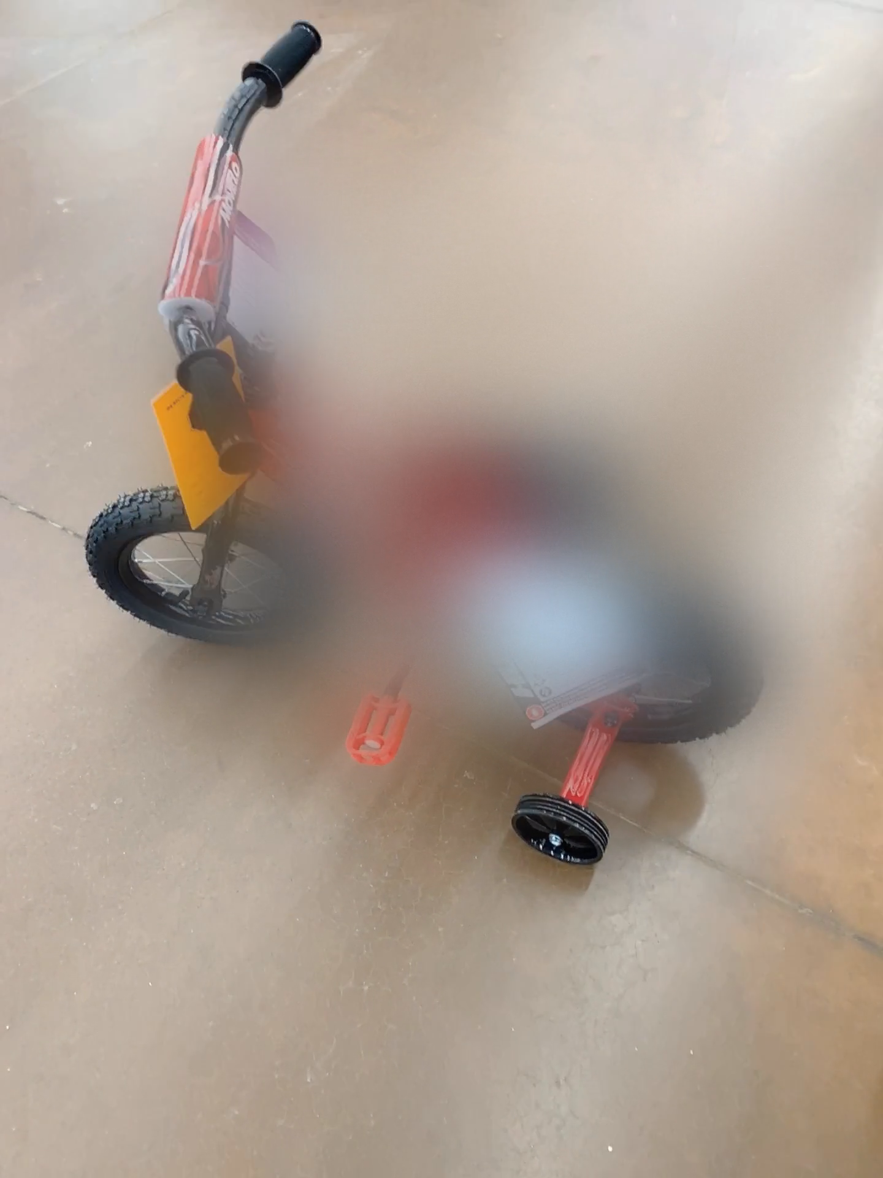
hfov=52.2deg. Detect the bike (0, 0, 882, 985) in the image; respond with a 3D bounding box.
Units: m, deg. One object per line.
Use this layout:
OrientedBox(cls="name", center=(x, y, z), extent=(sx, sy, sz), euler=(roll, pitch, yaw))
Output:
OrientedBox(cls="bike", center=(-0.038, -0.066, 0.760), extent=(0.704, 0.627, 0.459), euler=(12, 53, 5))
